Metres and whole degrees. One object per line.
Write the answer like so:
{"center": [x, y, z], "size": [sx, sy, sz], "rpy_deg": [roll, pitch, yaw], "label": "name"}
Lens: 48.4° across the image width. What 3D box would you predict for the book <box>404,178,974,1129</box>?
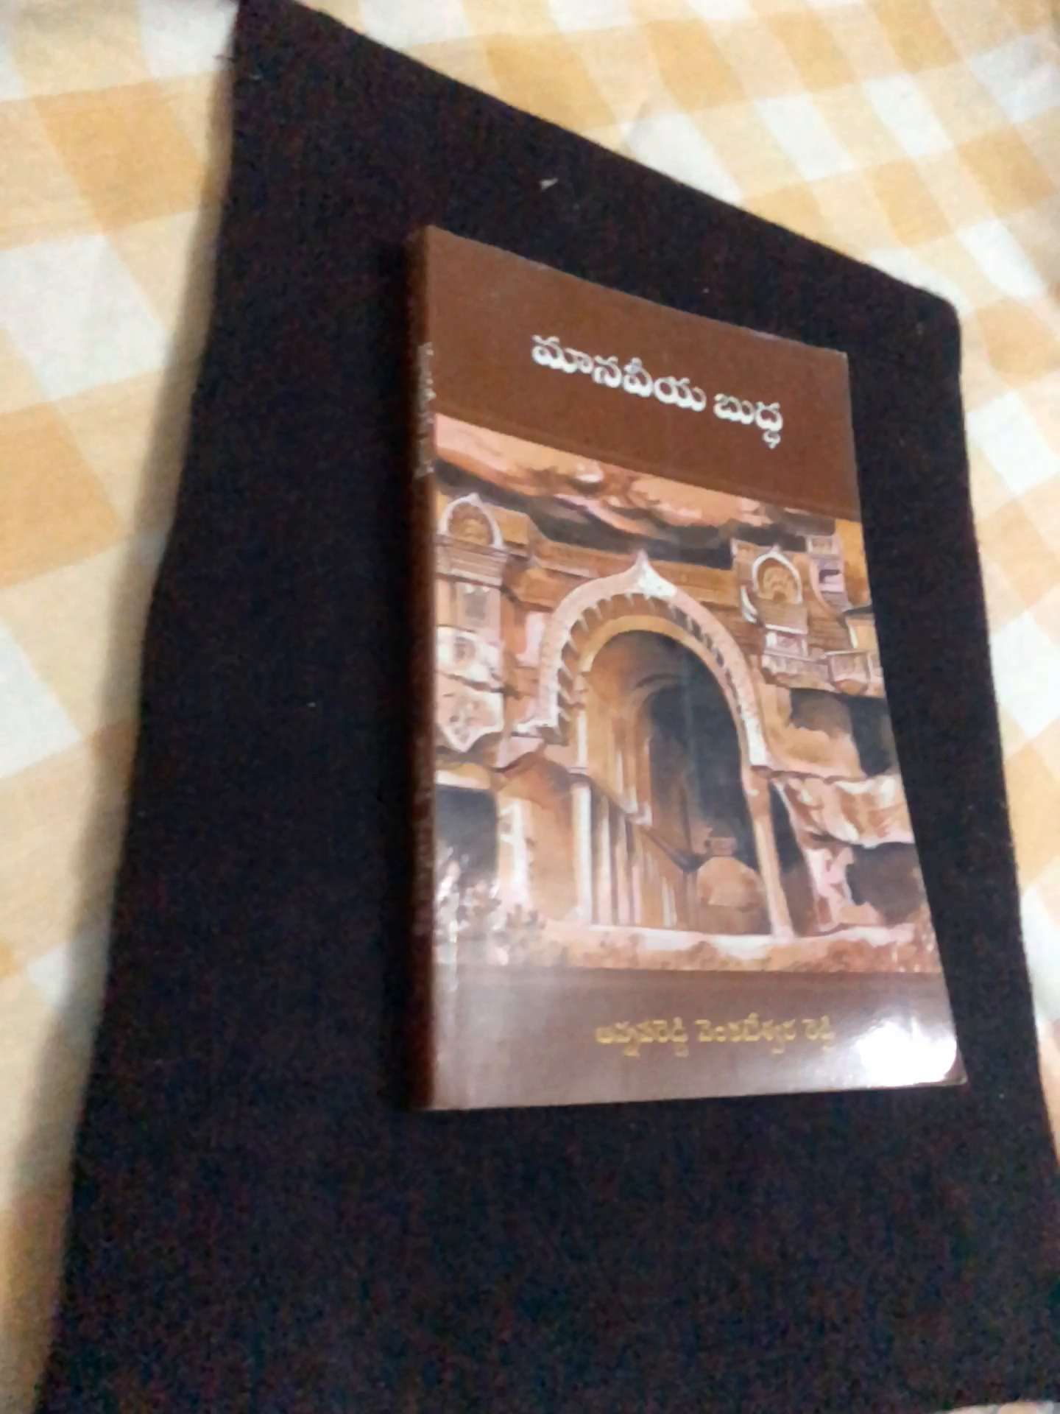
{"center": [0.038, -0.016, 0.305], "size": [0.141, 0.020, 0.230], "rpy_deg": [7, 69, -26], "label": "book"}
